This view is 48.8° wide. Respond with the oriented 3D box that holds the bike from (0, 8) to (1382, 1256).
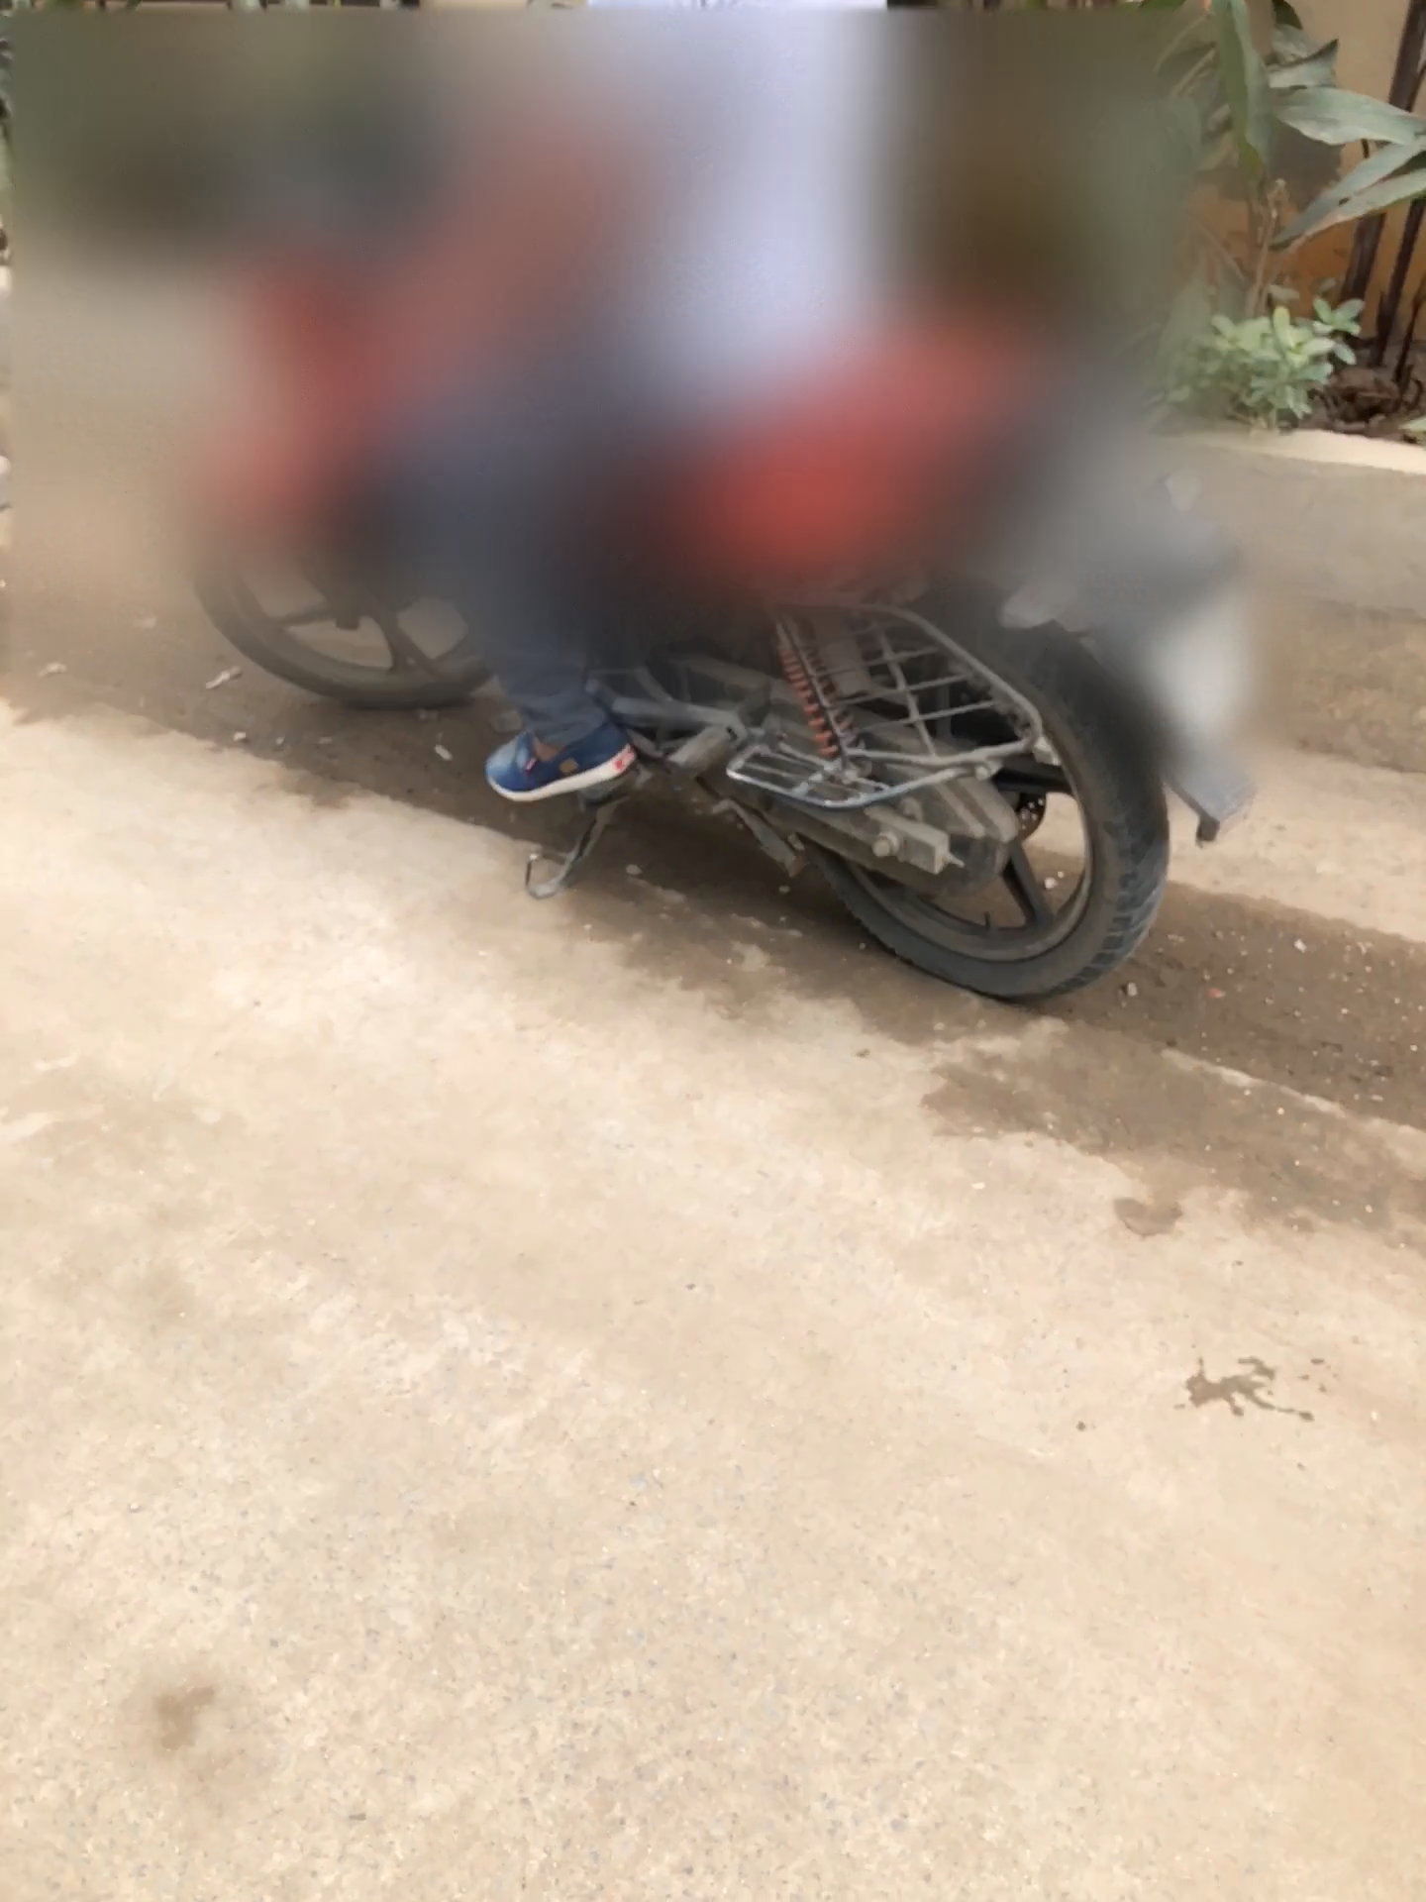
[{"bbox_3d":[-0.221,-0.574,2.230,1.788,1.207,0.693,22,42,30],"label":"bike"}]
